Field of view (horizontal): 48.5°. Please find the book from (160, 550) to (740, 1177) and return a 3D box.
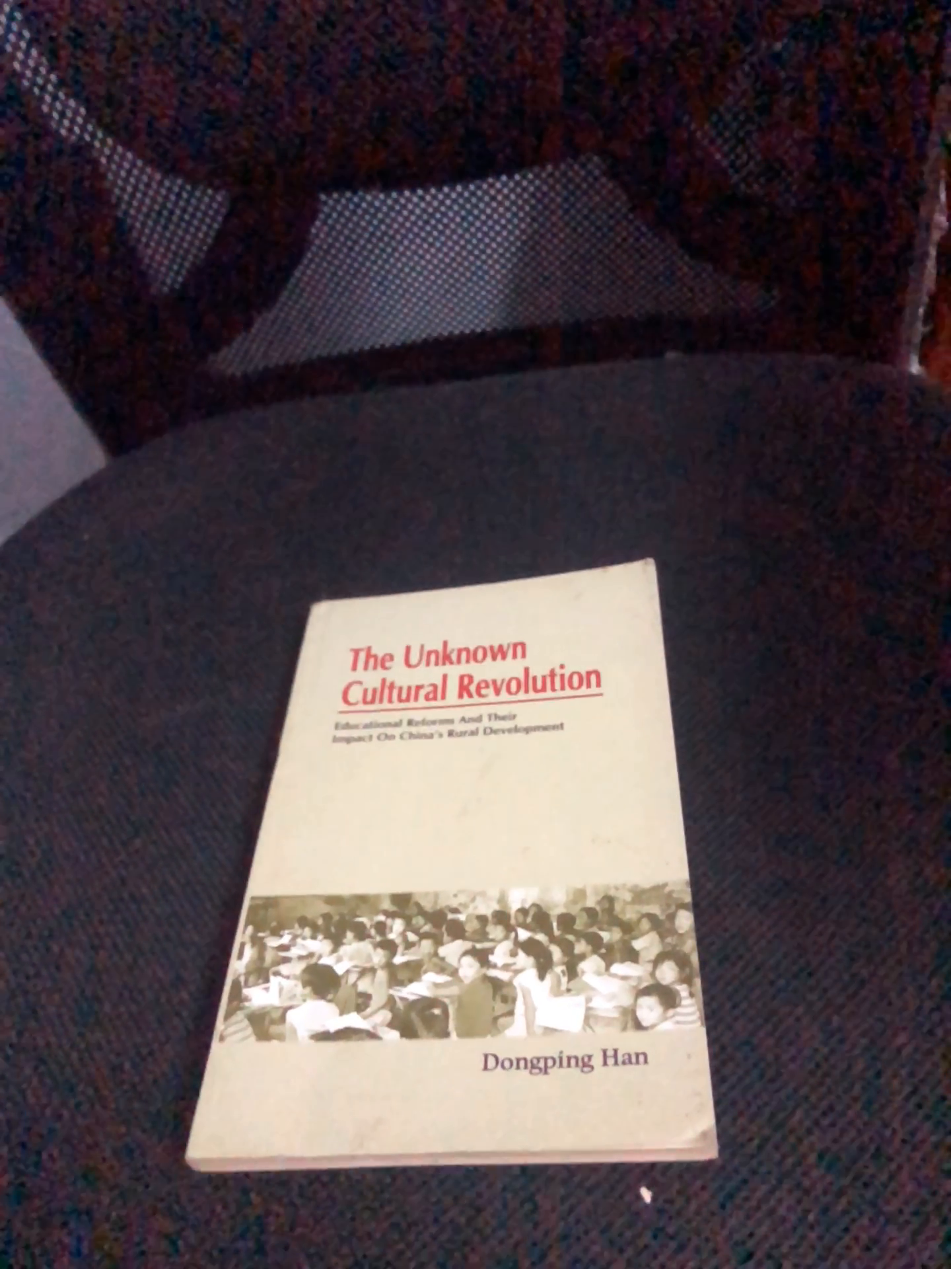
[{"bbox_3d":[-0.004,0.061,0.351,0.154,0.017,0.215,-5,48,10],"label":"book"}]
